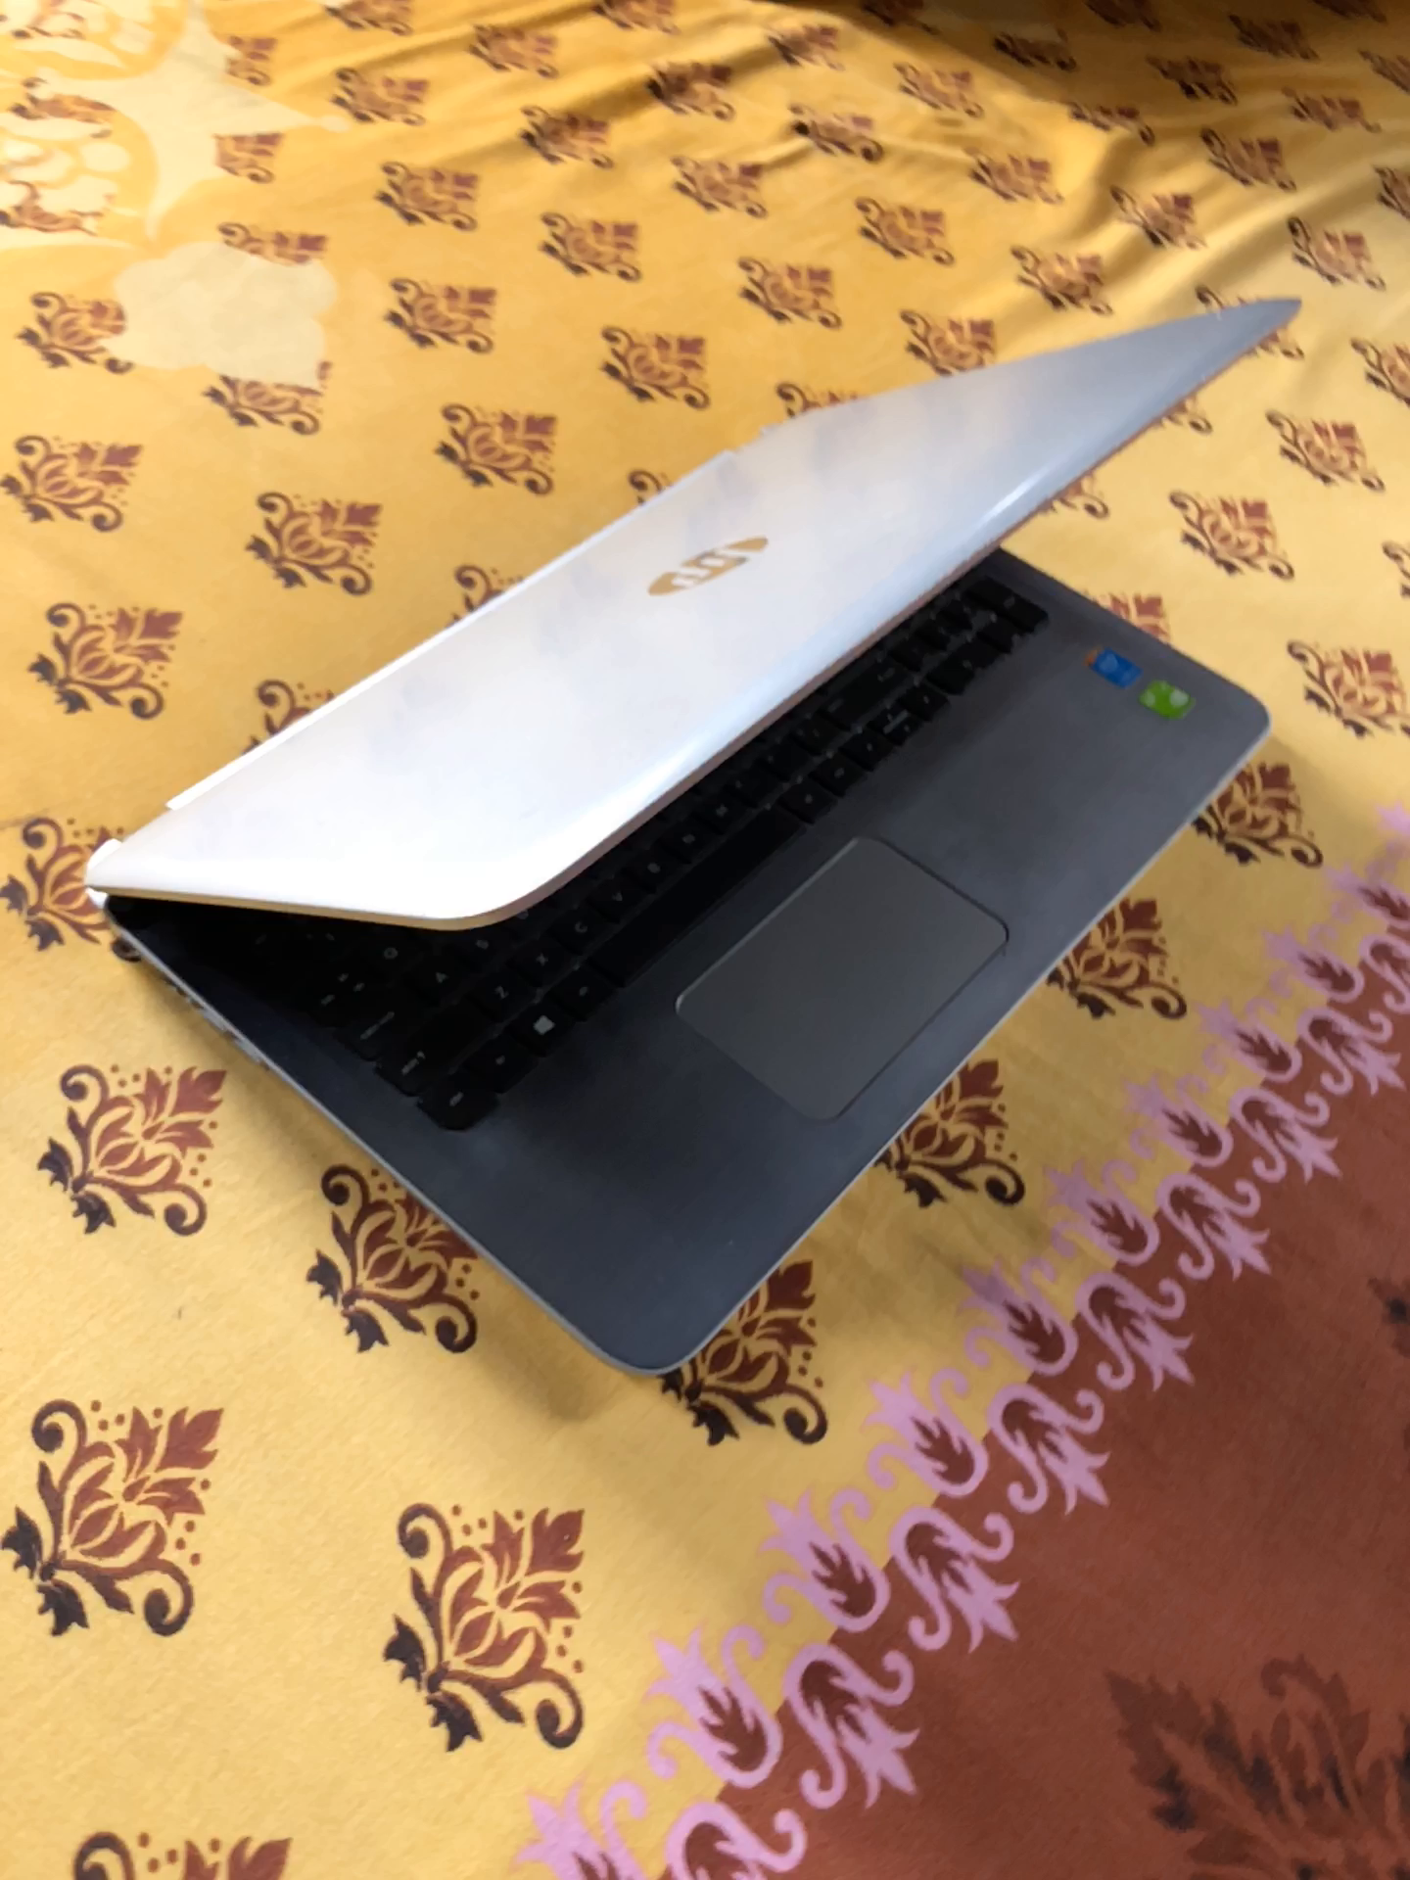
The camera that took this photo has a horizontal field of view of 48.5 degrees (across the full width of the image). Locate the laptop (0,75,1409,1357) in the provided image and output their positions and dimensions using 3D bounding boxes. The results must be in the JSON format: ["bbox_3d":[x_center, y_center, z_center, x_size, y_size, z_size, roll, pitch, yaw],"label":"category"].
[{"bbox_3d":[0.018,-0.106,0.511,0.249,0.155,0.373,37,57,21],"label":"laptop"}]
